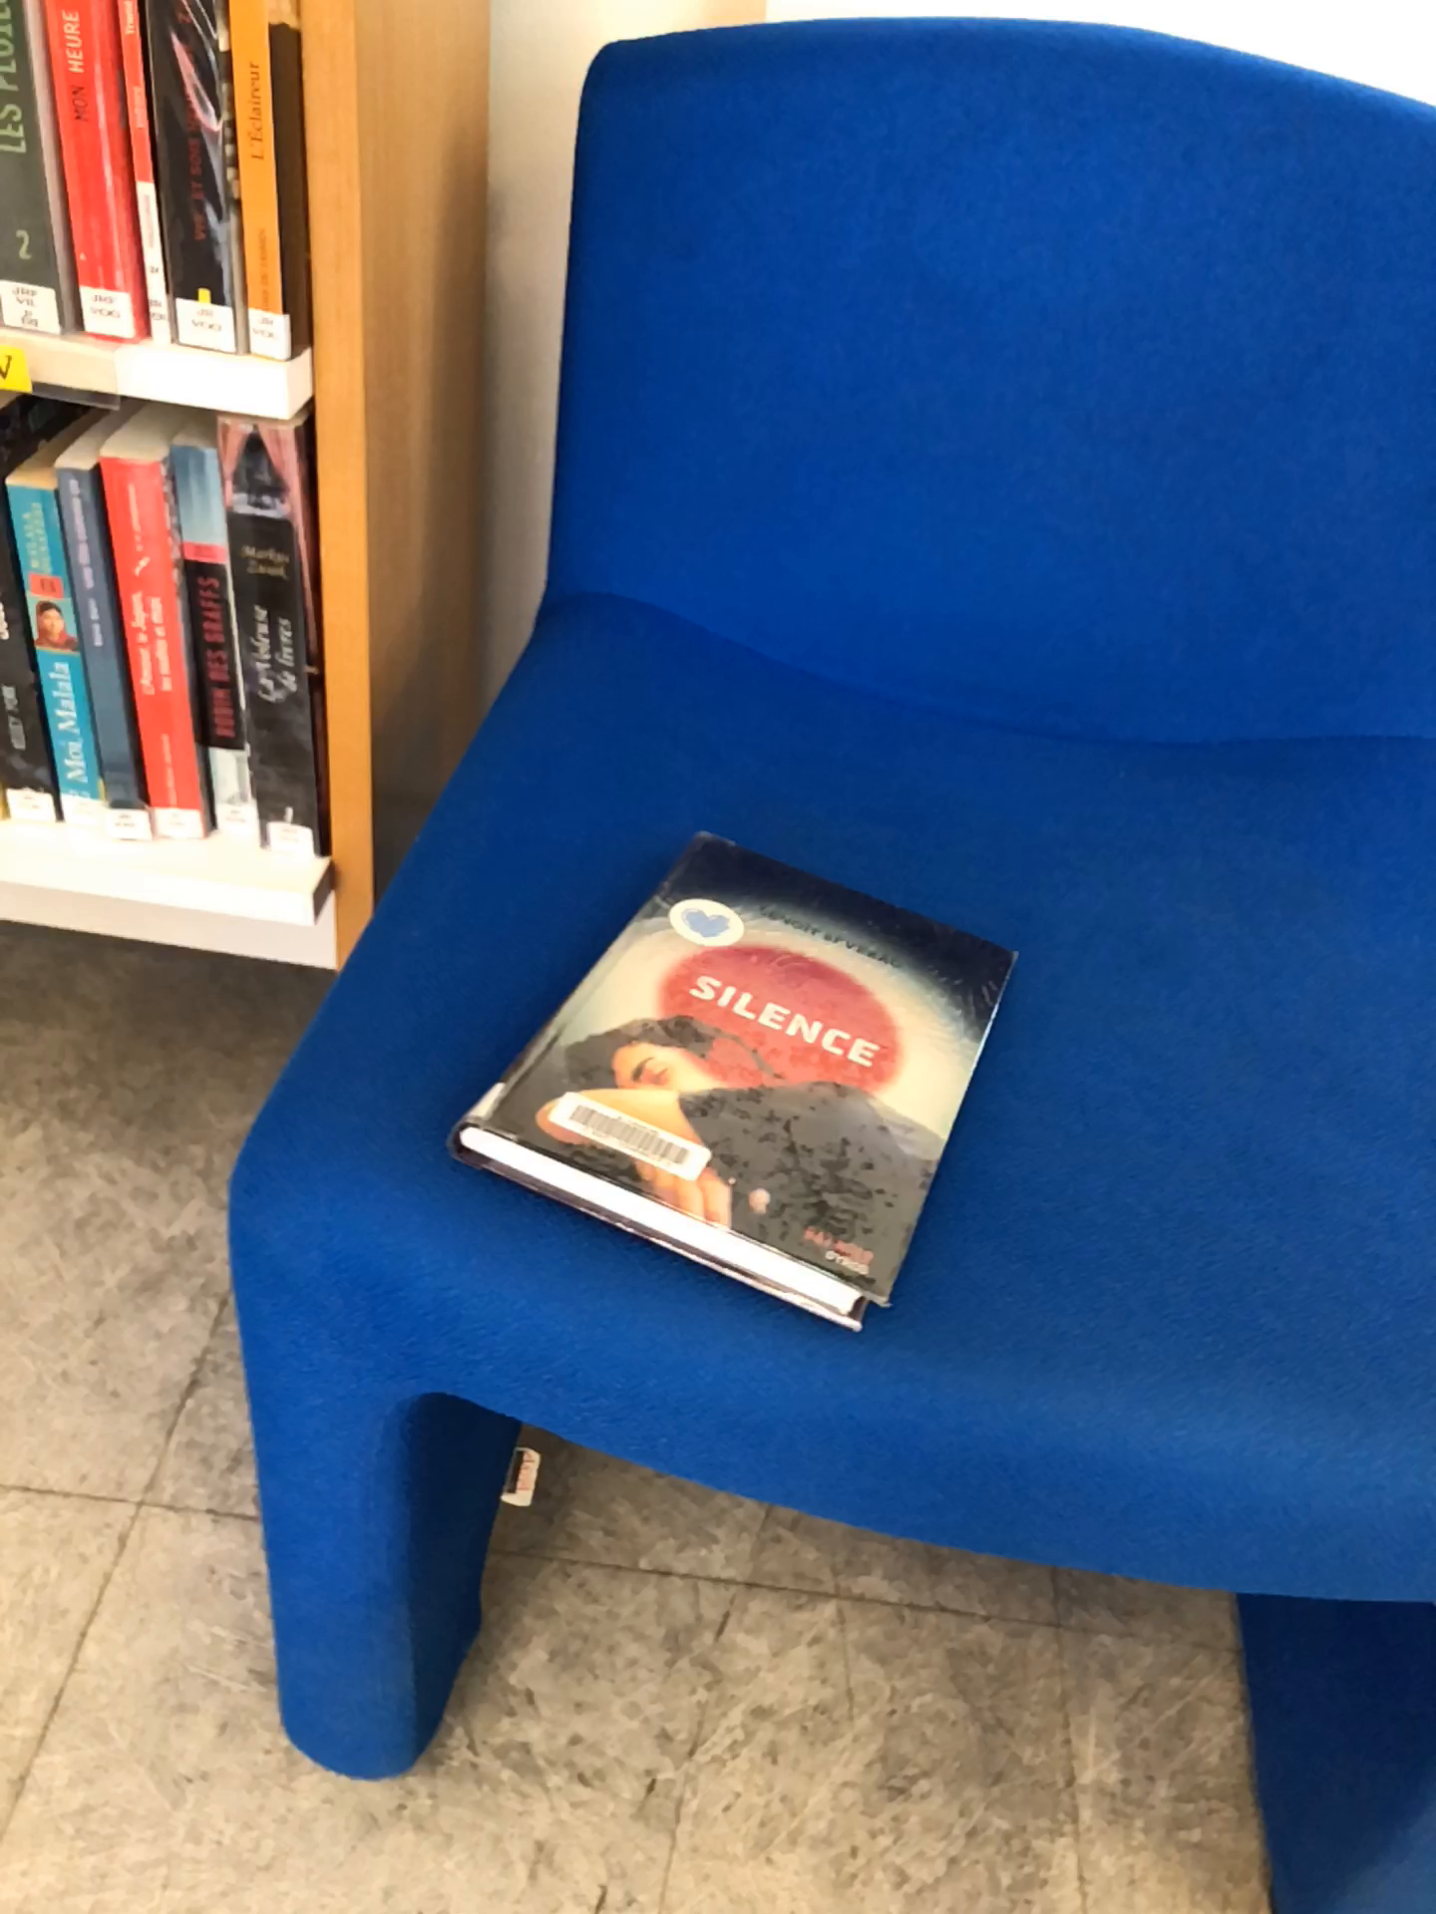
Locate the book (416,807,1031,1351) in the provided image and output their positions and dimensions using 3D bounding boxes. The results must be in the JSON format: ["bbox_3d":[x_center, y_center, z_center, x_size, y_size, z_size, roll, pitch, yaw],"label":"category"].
[{"bbox_3d":[0.014,0.027,0.556,0.146,0.023,0.212,22,37,12],"label":"book"}]
